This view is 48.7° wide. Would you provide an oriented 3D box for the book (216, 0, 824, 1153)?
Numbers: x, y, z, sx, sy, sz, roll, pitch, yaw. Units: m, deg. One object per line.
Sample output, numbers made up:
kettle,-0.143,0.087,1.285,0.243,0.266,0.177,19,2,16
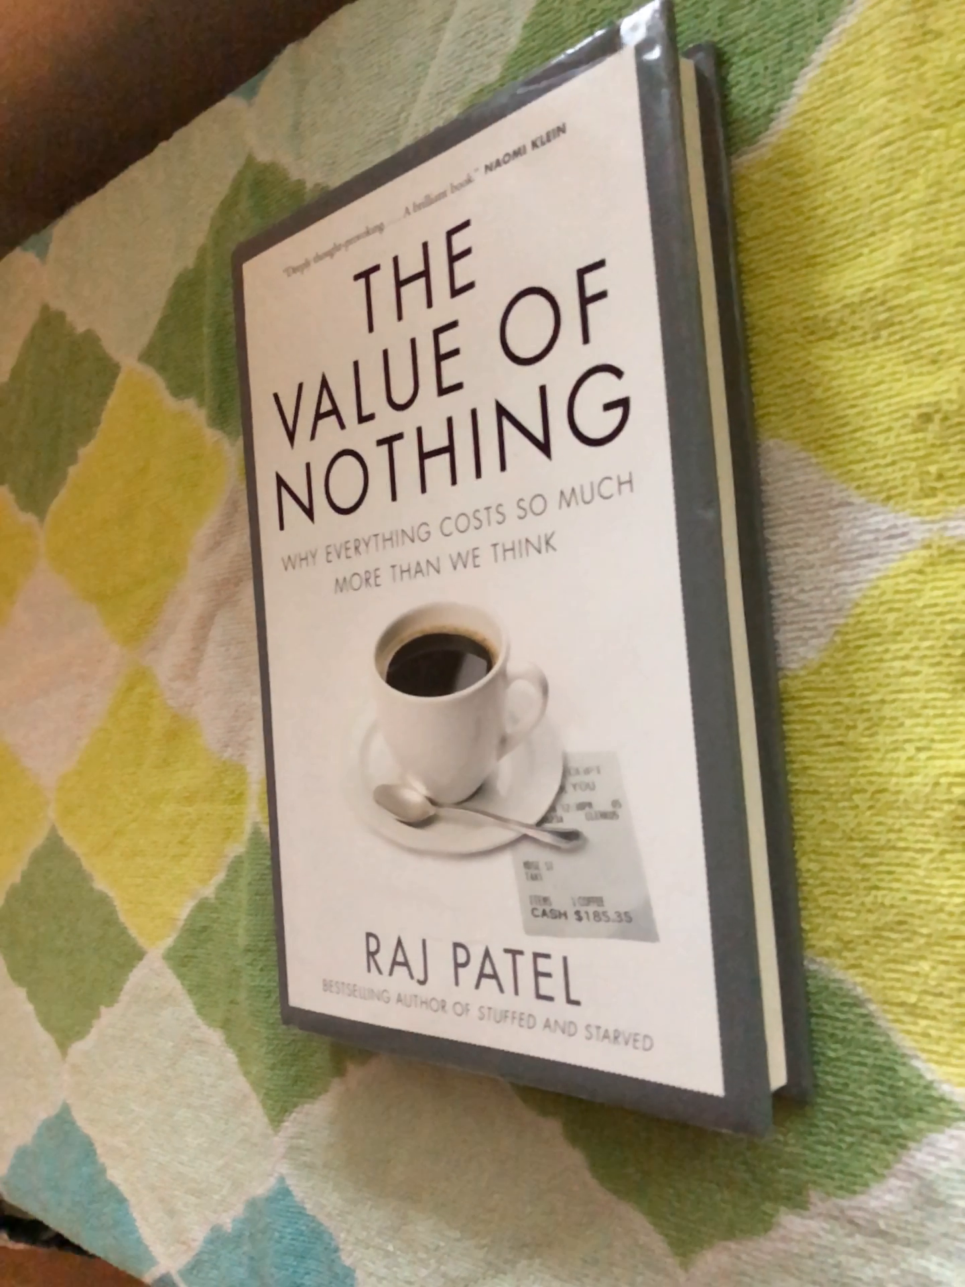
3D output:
book,-0.004,-0.010,0.246,0.141,0.030,0.206,-7,85,42
